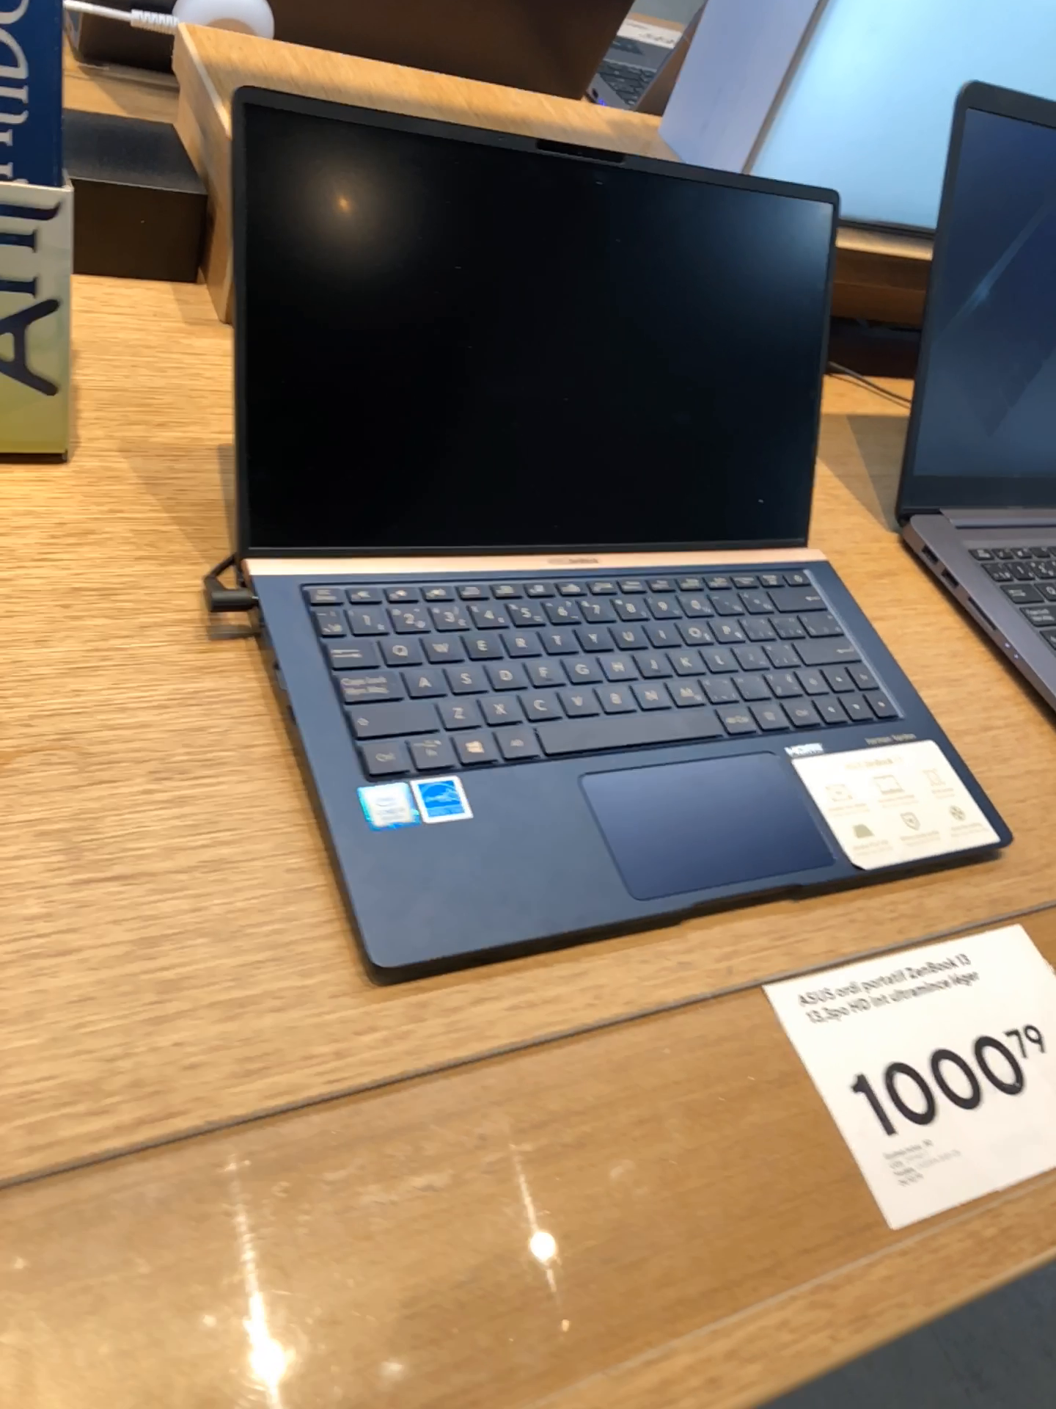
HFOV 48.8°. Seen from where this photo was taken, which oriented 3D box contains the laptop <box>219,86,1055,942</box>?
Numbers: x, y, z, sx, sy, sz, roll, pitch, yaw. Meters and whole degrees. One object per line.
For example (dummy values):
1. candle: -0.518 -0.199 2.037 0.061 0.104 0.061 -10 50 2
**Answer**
1. laptop: 0.047 -0.090 0.465 0.276 0.130 0.276 -5 54 -27
